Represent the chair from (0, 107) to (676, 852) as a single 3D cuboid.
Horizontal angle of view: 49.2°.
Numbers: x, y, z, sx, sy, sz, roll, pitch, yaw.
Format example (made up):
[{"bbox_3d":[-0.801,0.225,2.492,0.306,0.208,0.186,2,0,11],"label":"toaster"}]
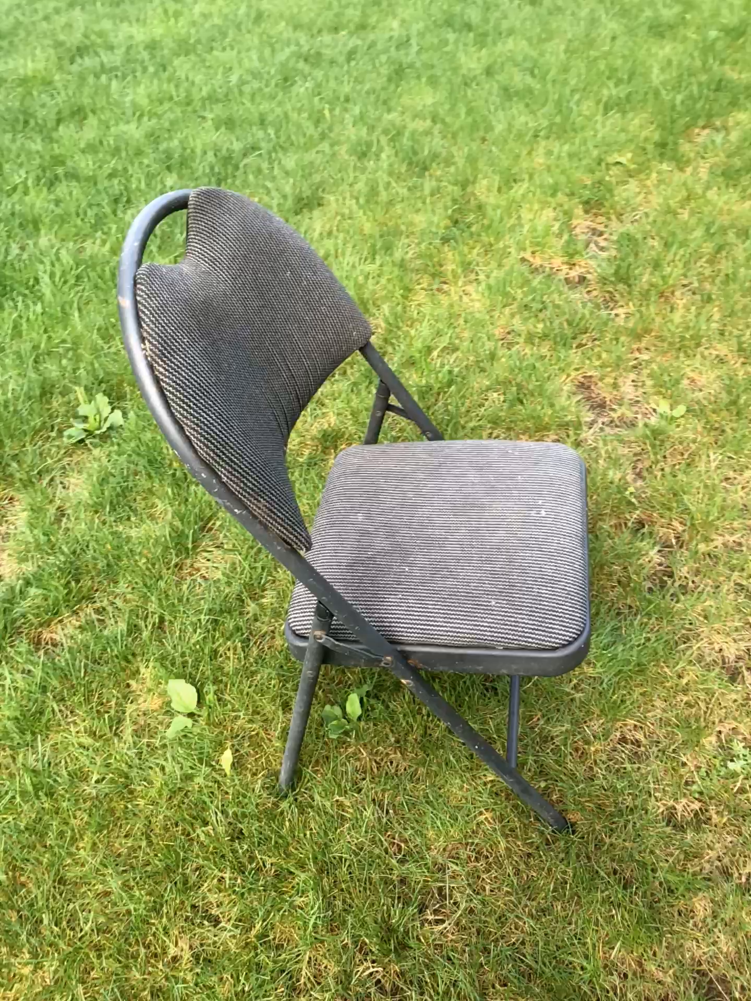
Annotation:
[{"bbox_3d":[0.030,0.000,1.117,0.570,0.815,0.533,3,44,12],"label":"chair"}]
